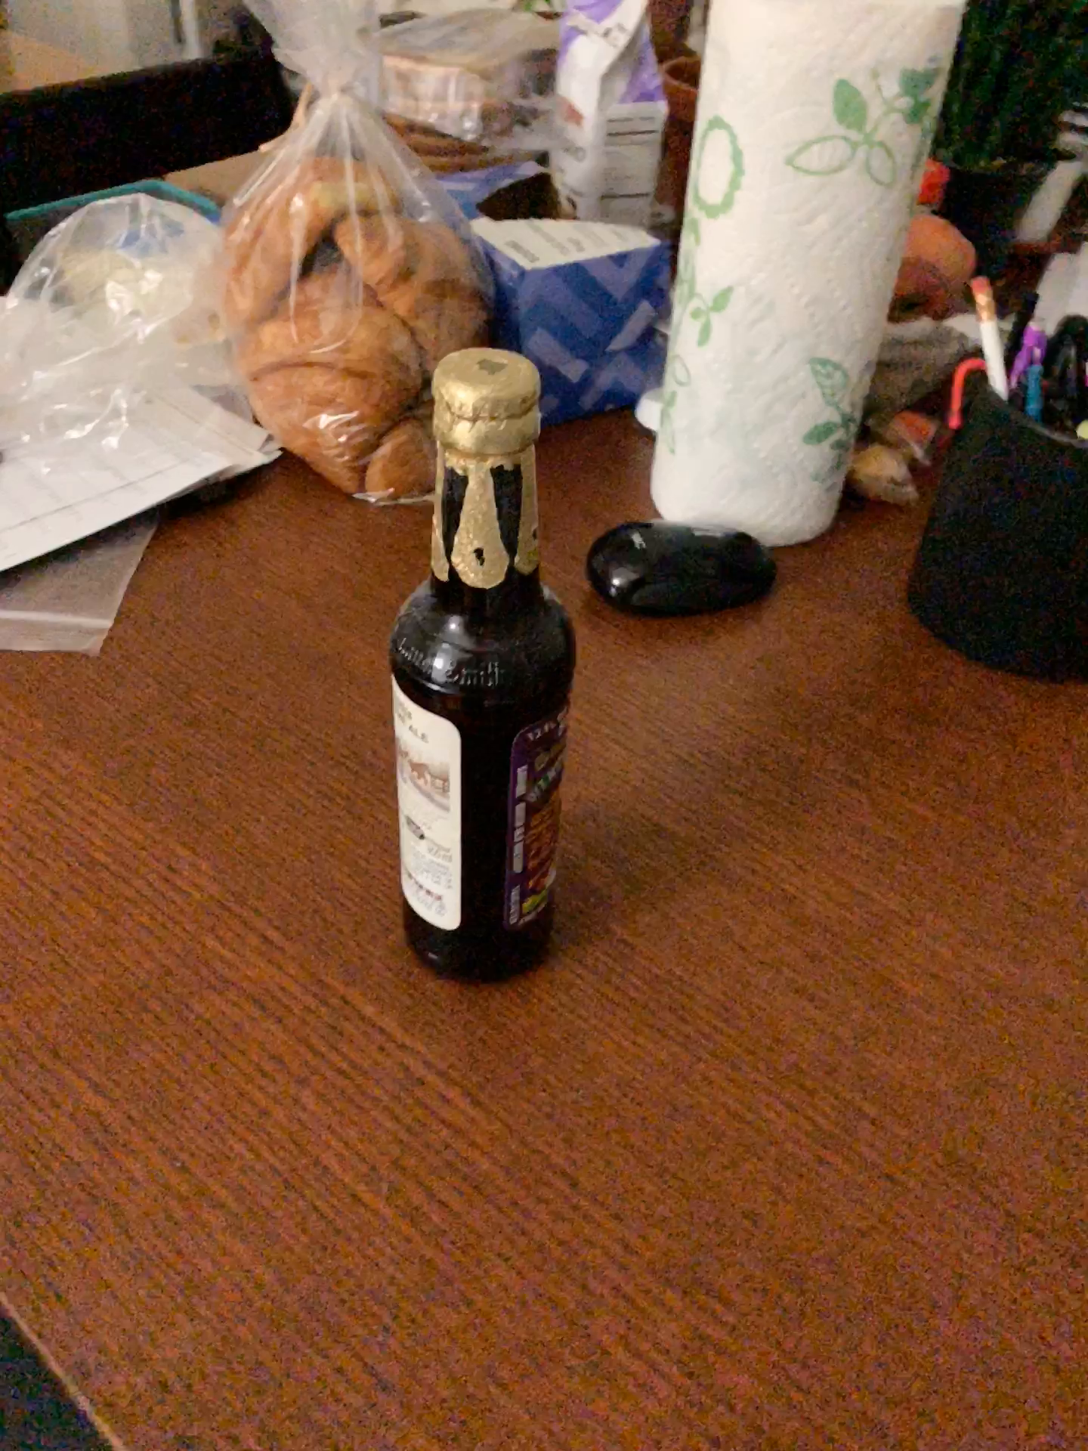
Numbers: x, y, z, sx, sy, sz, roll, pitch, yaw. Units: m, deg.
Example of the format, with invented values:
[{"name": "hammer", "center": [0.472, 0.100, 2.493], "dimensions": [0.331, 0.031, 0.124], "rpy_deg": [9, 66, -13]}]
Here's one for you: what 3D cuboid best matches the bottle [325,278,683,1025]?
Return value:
[{"name": "bottle", "center": [-0.014, -0.009, 0.358], "dimensions": [0.070, 0.229, 0.070], "rpy_deg": [2, 41, -2]}]
